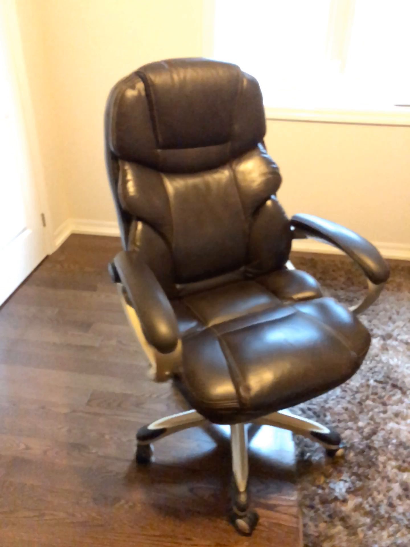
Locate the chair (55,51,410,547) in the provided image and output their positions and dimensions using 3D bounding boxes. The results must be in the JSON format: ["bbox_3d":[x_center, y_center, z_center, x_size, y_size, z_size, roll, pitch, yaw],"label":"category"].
[{"bbox_3d":[0.088,0.036,1.295,0.730,1.135,0.743,-12,32,-21],"label":"chair"}]
